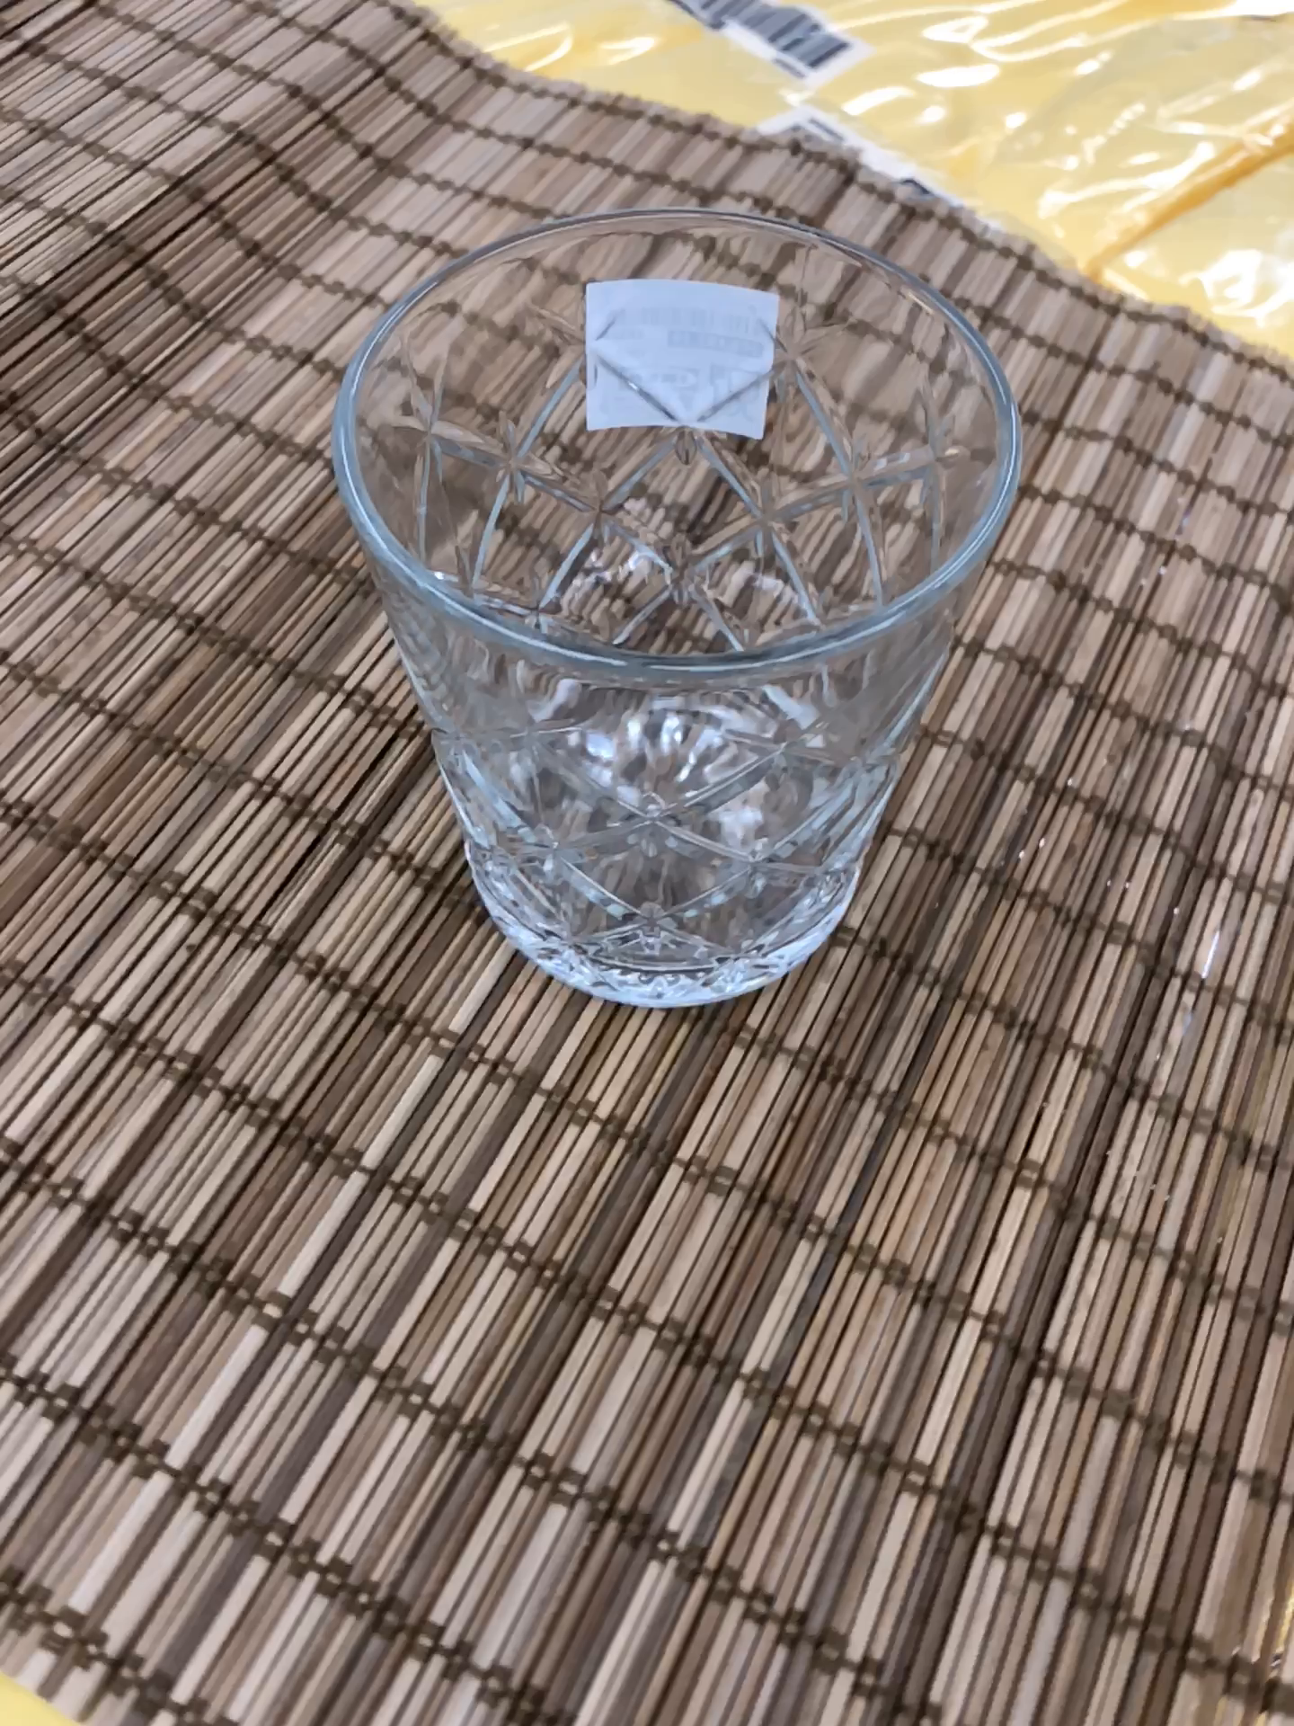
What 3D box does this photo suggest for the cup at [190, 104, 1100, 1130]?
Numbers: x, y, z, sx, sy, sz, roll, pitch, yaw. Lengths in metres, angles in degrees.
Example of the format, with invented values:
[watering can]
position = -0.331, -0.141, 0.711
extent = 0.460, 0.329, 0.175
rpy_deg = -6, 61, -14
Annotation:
[cup]
position = 0.002, -0.030, 0.198
extent = 0.080, 0.090, 0.080
rpy_deg = 2, 55, -3
